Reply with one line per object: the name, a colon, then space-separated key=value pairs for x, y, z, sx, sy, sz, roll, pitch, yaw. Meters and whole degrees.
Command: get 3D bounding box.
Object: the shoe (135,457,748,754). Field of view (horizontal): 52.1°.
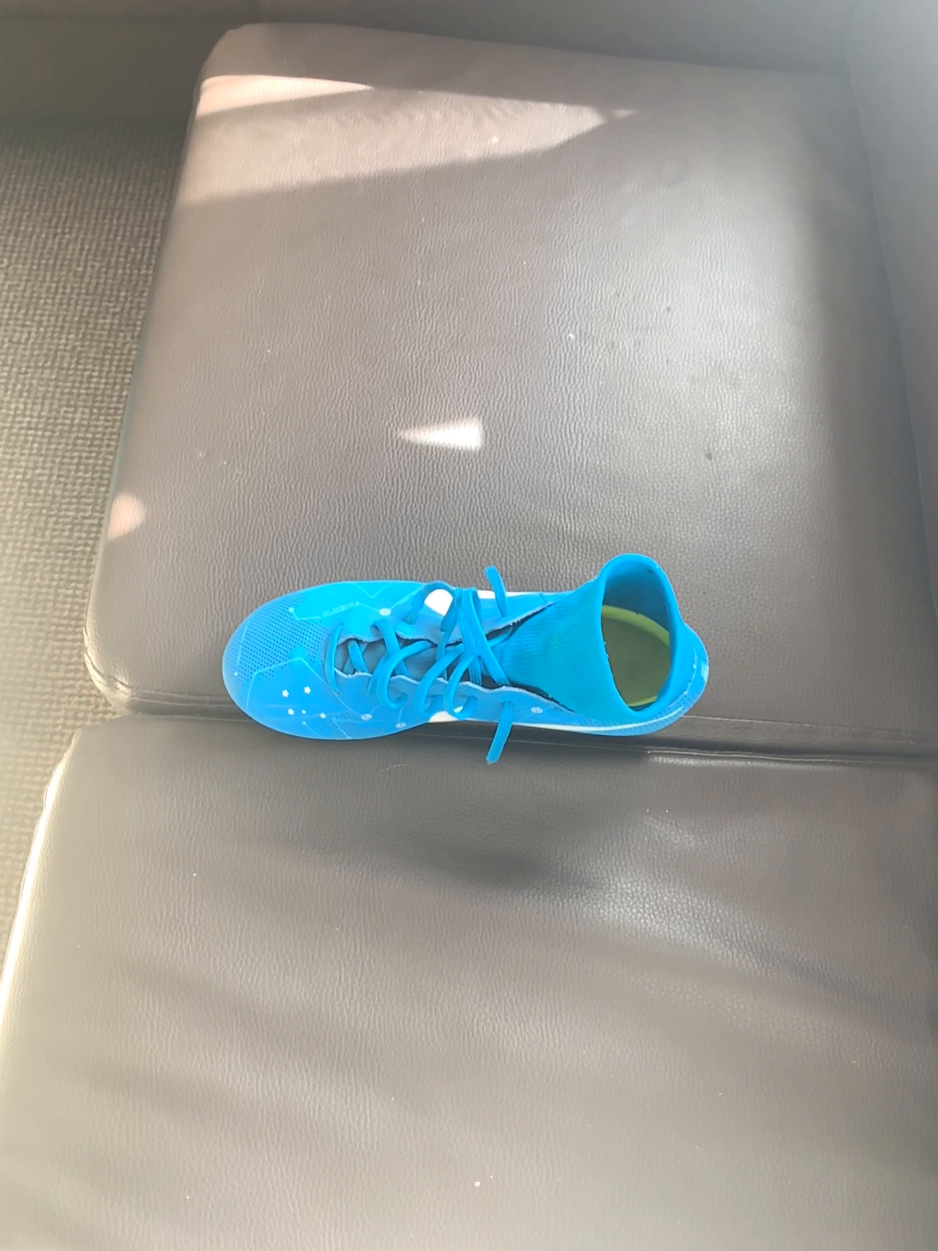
shoe: x=-0.009 y=-0.004 z=0.464 sx=0.250 sy=0.120 sz=0.099 roll=2 pitch=69 yaw=2
